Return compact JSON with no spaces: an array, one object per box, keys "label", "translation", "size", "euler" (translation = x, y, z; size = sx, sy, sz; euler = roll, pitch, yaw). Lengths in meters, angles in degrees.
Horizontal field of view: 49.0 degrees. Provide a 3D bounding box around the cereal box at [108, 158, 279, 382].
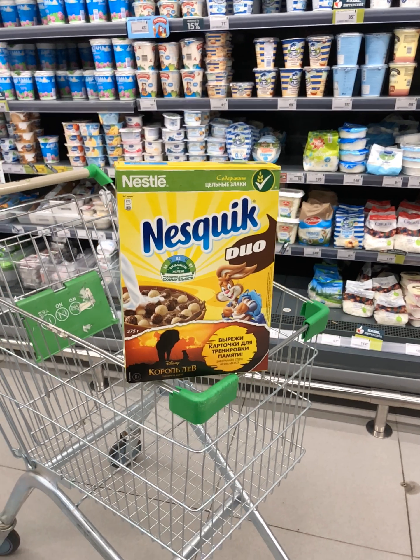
[{"label":"cereal box","translation":[-0.024,-0.013,0.603],"size":[0.200,0.279,0.060],"euler":[-3,19,-11]}]
